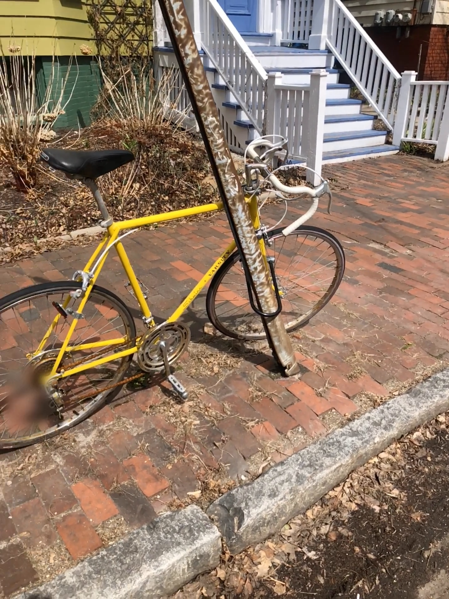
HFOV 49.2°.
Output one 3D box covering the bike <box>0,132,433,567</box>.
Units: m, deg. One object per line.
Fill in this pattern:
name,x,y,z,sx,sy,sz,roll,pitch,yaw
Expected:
bike,-0.099,0.008,1.788,1.706,0.855,0.525,-20,32,-27
